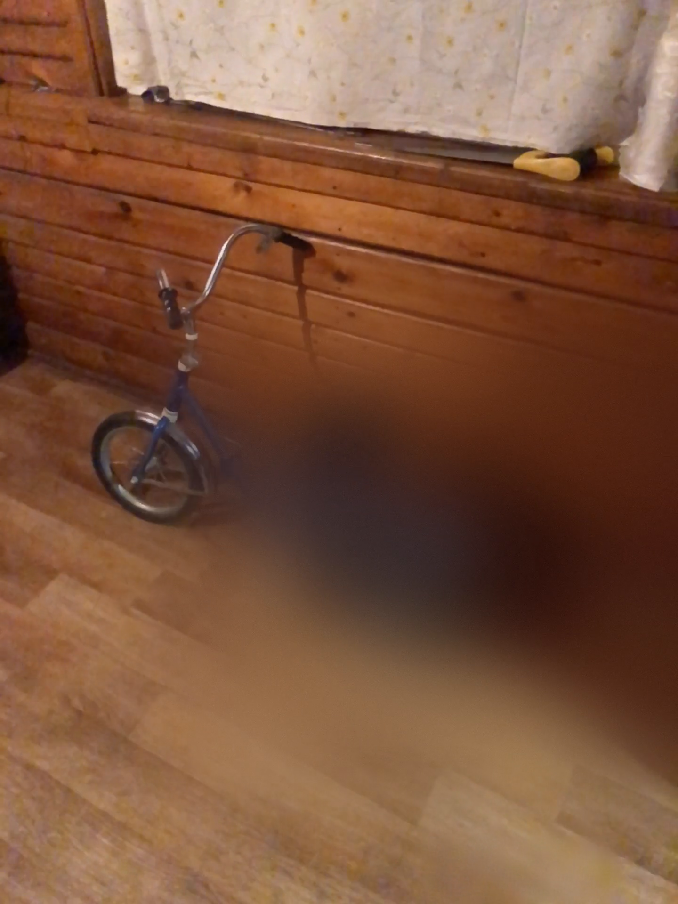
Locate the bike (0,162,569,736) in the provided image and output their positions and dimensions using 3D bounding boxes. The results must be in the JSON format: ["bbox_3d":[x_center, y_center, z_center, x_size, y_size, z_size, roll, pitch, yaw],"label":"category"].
[{"bbox_3d":[-0.152,-0.059,1.542,0.958,0.697,0.596,22,46,23],"label":"bike"}]
